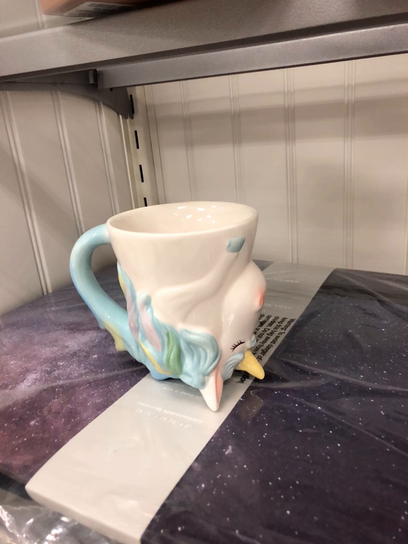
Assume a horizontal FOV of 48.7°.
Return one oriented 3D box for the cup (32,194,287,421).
[{"bbox_3d":[-0.019,0.016,0.321,0.140,0.118,0.101,1,20,18],"label":"cup"}]
